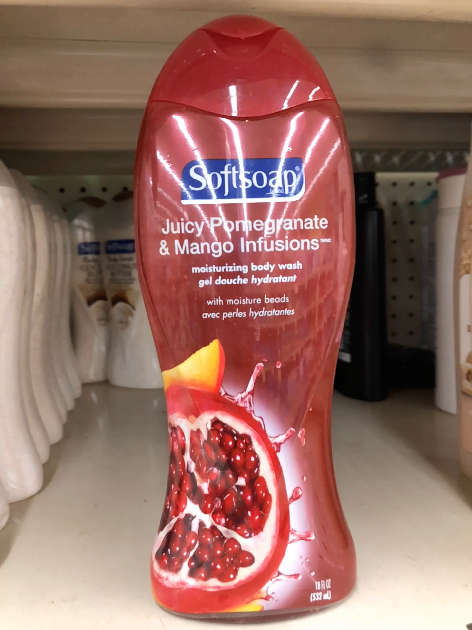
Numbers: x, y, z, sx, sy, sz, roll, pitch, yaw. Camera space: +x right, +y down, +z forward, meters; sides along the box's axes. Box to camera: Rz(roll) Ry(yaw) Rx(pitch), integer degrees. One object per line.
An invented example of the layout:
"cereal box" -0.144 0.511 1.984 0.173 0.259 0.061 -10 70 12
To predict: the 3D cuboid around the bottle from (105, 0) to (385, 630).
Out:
"bottle" 0.006 0.003 0.215 0.090 0.230 0.060 -1 8 3
